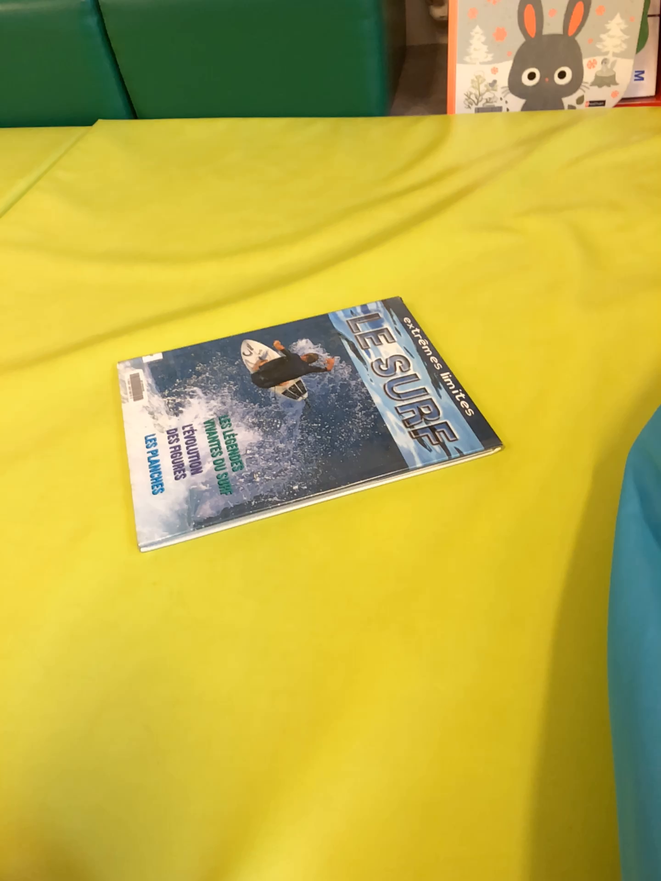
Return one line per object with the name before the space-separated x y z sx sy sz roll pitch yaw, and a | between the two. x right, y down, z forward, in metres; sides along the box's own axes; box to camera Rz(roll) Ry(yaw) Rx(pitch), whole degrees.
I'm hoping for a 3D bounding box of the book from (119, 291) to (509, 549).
book | -0.029 -0.034 0.598 0.273 0.016 0.227 -14 42 -9
